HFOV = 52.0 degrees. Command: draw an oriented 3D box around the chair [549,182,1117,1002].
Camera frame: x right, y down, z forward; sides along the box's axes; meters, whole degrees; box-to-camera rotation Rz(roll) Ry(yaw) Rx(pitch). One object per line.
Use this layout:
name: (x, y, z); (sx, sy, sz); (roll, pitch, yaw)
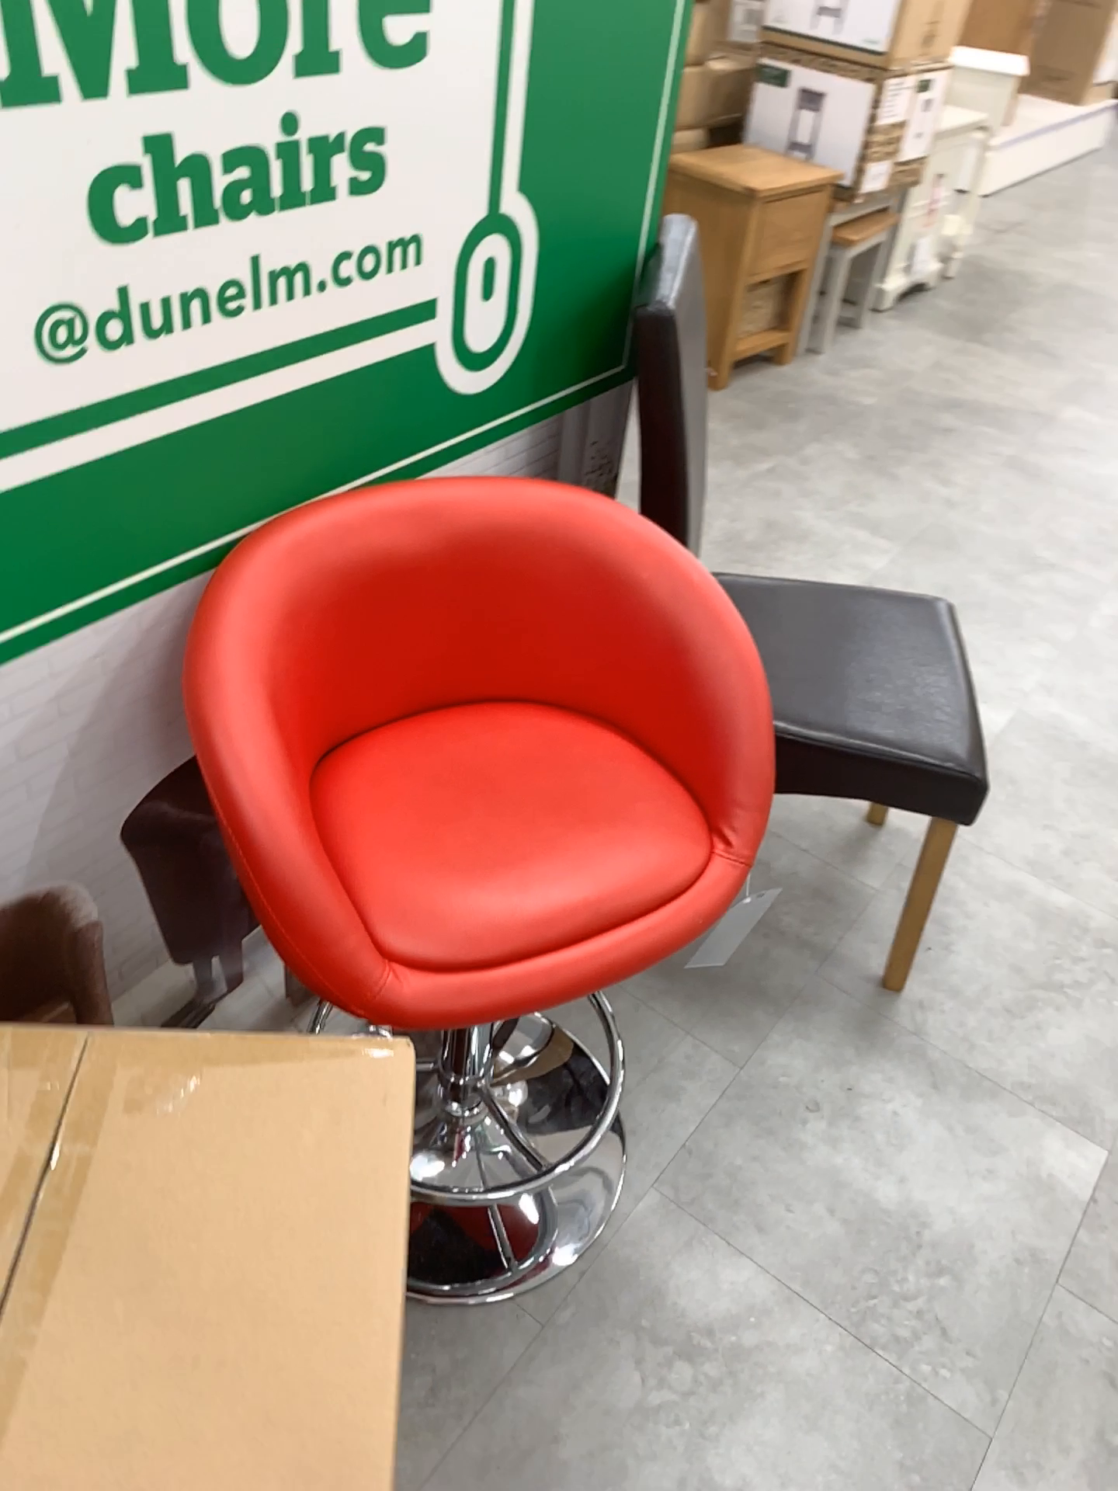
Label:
chair: (0.323, -0.173, 1.545); (0.517, 0.919, 0.449); (11, 39, 4)

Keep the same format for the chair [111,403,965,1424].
chair: (-0.068, 0.154, 1.131); (0.496, 0.761, 0.481); (-17, 45, -27)
